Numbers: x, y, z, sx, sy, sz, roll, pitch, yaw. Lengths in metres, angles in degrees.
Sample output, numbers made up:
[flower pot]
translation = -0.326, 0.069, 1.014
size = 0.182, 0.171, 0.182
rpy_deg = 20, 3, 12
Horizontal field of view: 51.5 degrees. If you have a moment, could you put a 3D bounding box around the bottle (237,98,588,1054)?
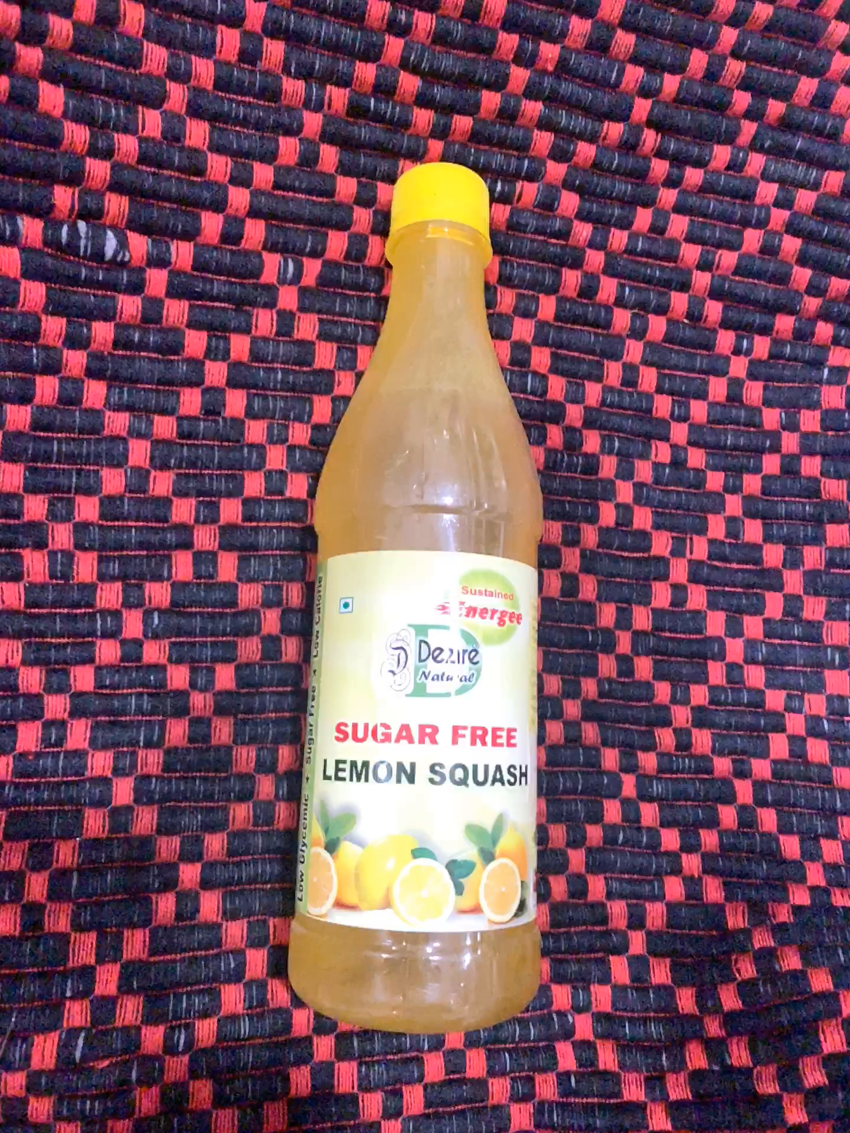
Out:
[bottle]
translation = -0.005, -0.004, 0.242
size = 0.070, 0.060, 0.230
rpy_deg = 5, 74, -16
